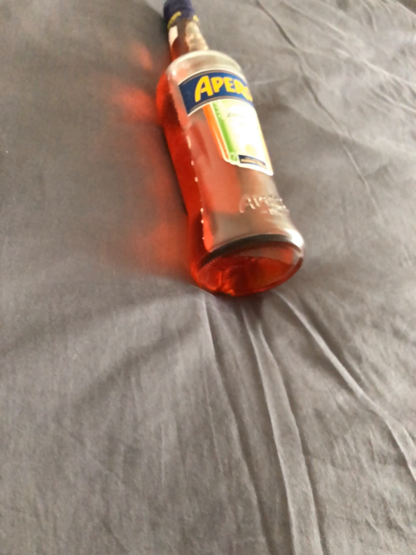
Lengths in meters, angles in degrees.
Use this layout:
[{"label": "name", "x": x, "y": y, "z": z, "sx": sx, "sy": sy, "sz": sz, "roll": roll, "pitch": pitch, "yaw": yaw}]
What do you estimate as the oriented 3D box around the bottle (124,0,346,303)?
[{"label": "bottle", "x": 0.002, "y": -0.140, "z": 0.380, "sx": 0.100, "sy": 0.070, "sz": 0.321, "roll": 5, "pitch": 57, "yaw": -27}]
